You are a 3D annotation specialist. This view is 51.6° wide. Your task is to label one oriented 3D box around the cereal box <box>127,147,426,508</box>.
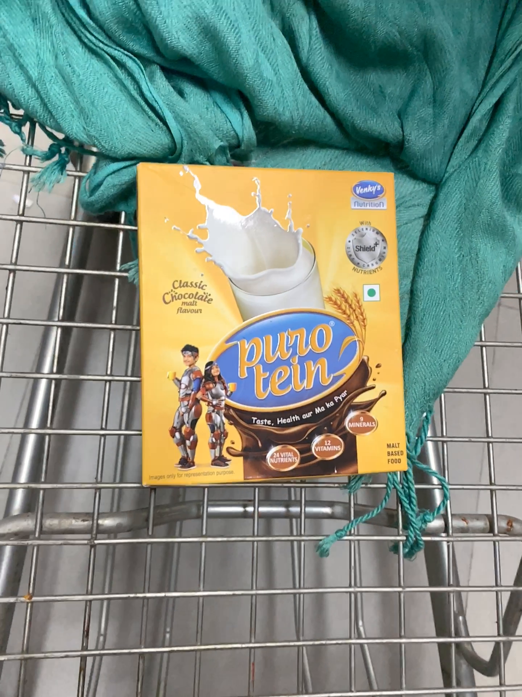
[{"bbox_3d":[0.005,-0.010,0.276,0.140,0.050,0.160,0,88,-11],"label":"cereal box"}]
